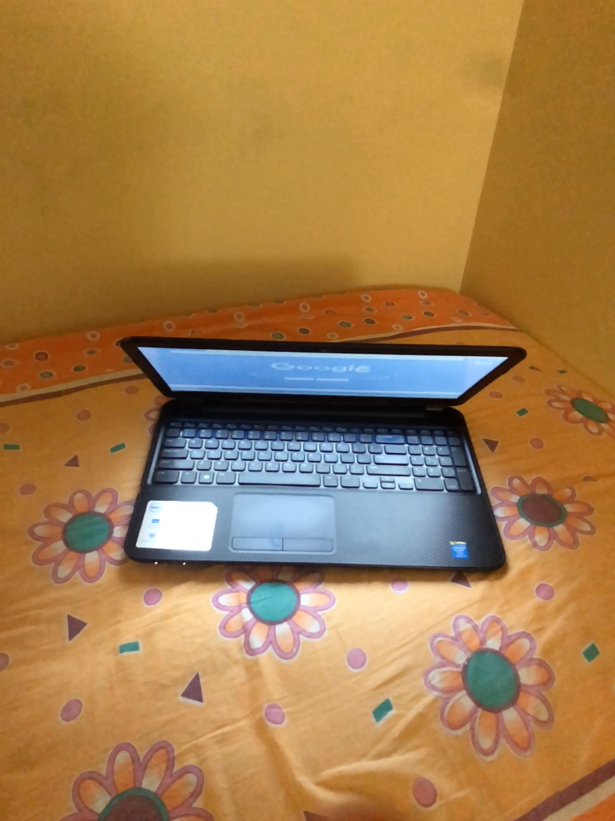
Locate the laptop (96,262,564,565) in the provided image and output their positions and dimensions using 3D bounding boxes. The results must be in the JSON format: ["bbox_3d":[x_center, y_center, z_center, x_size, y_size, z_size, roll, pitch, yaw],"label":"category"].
[{"bbox_3d":[0.013,-0.003,0.684,0.366,0.190,0.239,1,39,-2],"label":"laptop"}]
